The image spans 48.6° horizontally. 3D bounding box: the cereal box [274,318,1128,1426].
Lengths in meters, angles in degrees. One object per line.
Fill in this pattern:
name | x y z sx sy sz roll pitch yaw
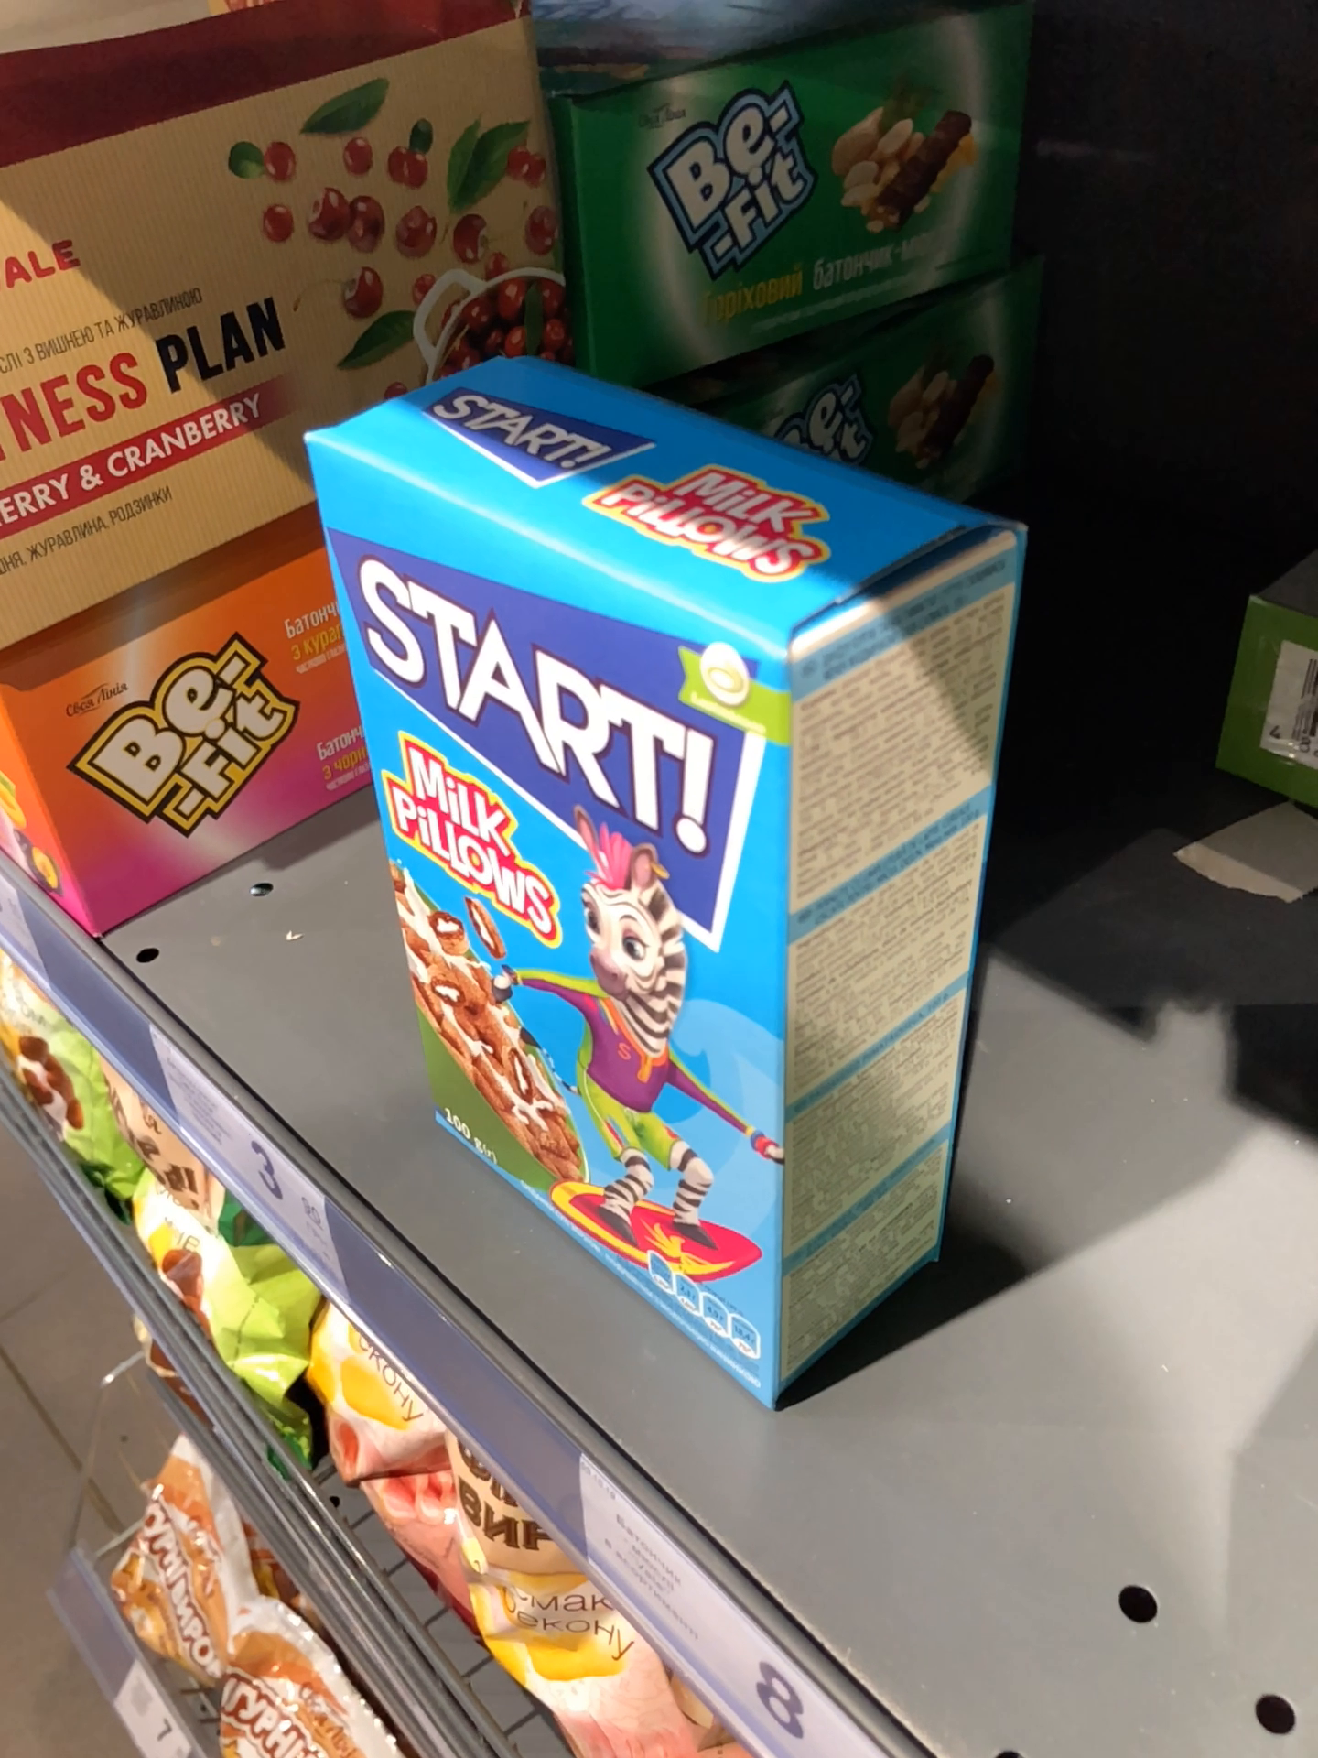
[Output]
cereal box | 0.005 -0.002 0.284 0.120 0.169 0.070 31 49 34
